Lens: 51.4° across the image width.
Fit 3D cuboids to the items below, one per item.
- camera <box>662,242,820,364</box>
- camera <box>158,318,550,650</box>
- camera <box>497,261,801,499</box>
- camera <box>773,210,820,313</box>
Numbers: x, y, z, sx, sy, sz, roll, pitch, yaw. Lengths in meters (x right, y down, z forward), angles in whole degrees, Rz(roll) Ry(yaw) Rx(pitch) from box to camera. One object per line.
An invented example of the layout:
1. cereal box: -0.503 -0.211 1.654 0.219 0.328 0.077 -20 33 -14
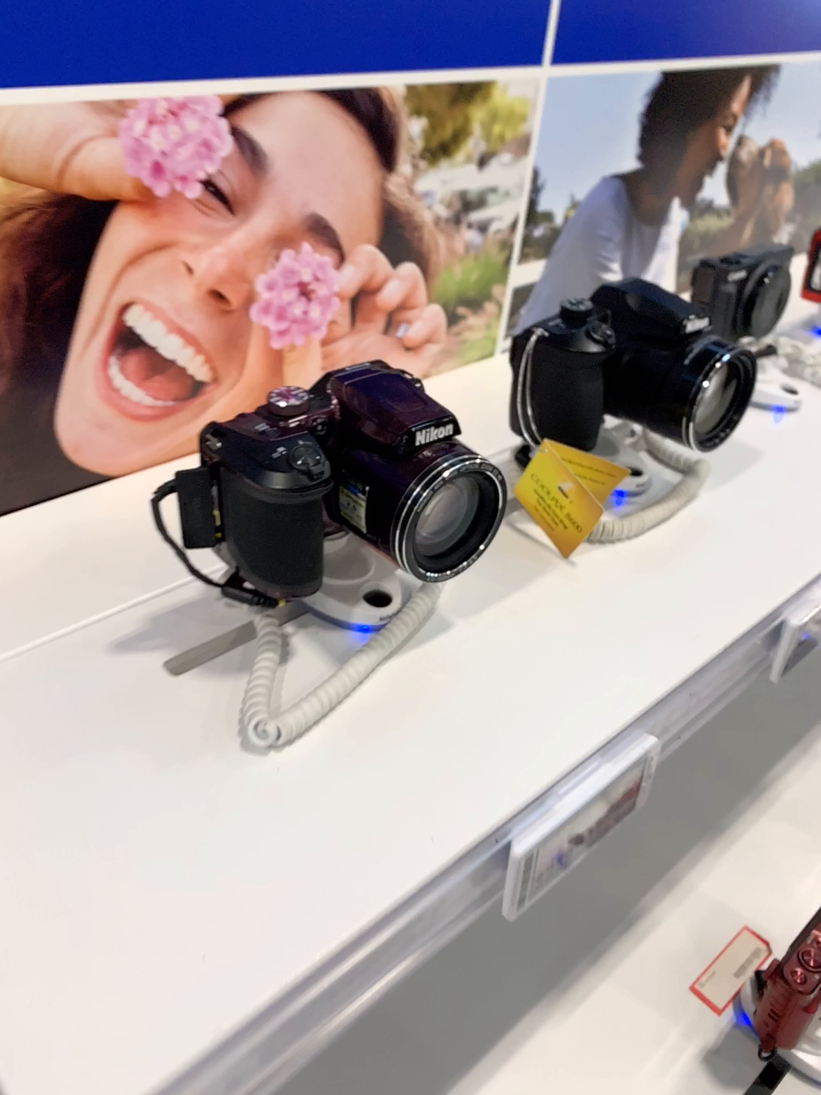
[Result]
1. camera: 0.257 -0.192 0.662 0.120 0.060 0.050 -25 42 -34
2. camera: -0.025 -0.039 0.393 0.130 0.079 0.111 -25 42 -34
3. camera: 0.135 -0.104 0.498 0.120 0.079 0.111 -25 42 -34
4. camera: 0.392 -0.261 0.772 0.130 0.060 0.050 -25 42 -34
